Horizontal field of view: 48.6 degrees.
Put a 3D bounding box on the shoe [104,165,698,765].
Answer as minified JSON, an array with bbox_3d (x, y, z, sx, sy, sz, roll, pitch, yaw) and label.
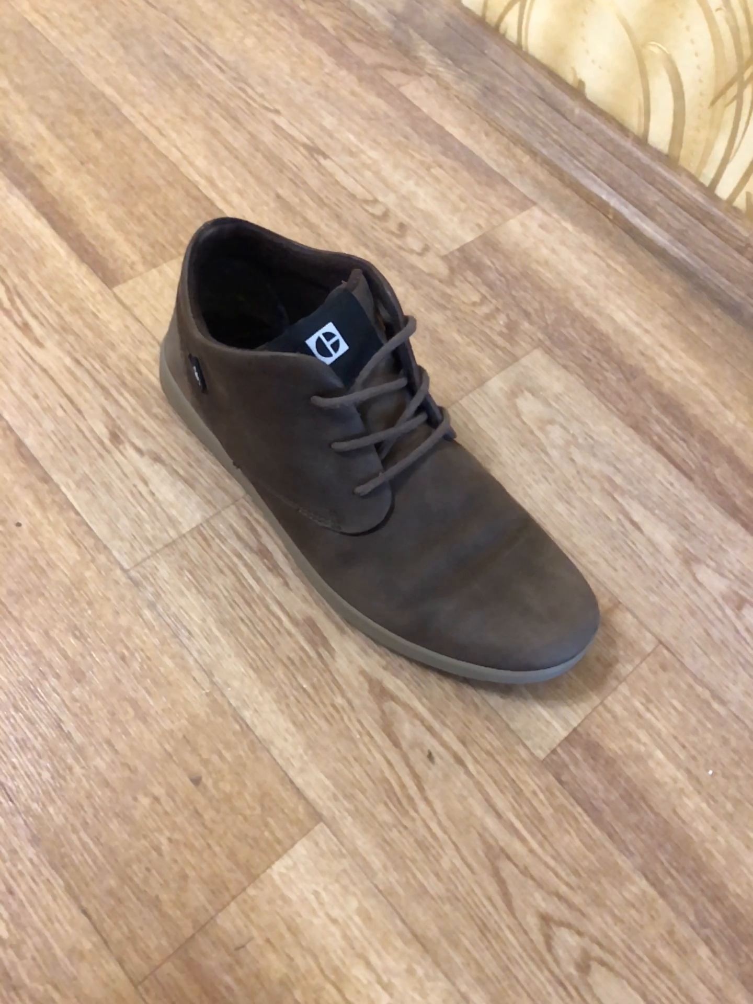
[{"bbox_3d":[-0.003,-0.024,0.398,0.100,0.100,0.270,-35,71,-25],"label":"shoe"}]
